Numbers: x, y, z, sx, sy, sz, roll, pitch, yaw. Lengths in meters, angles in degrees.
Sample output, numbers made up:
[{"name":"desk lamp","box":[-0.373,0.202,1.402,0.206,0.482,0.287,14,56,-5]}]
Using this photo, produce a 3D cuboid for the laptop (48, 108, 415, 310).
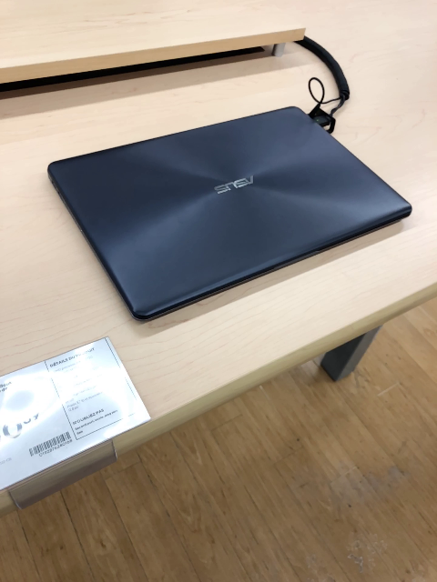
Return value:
[{"name":"laptop","box":[0.020,-0.119,0.549,0.346,0.002,0.229,-22,56,-24]}]
